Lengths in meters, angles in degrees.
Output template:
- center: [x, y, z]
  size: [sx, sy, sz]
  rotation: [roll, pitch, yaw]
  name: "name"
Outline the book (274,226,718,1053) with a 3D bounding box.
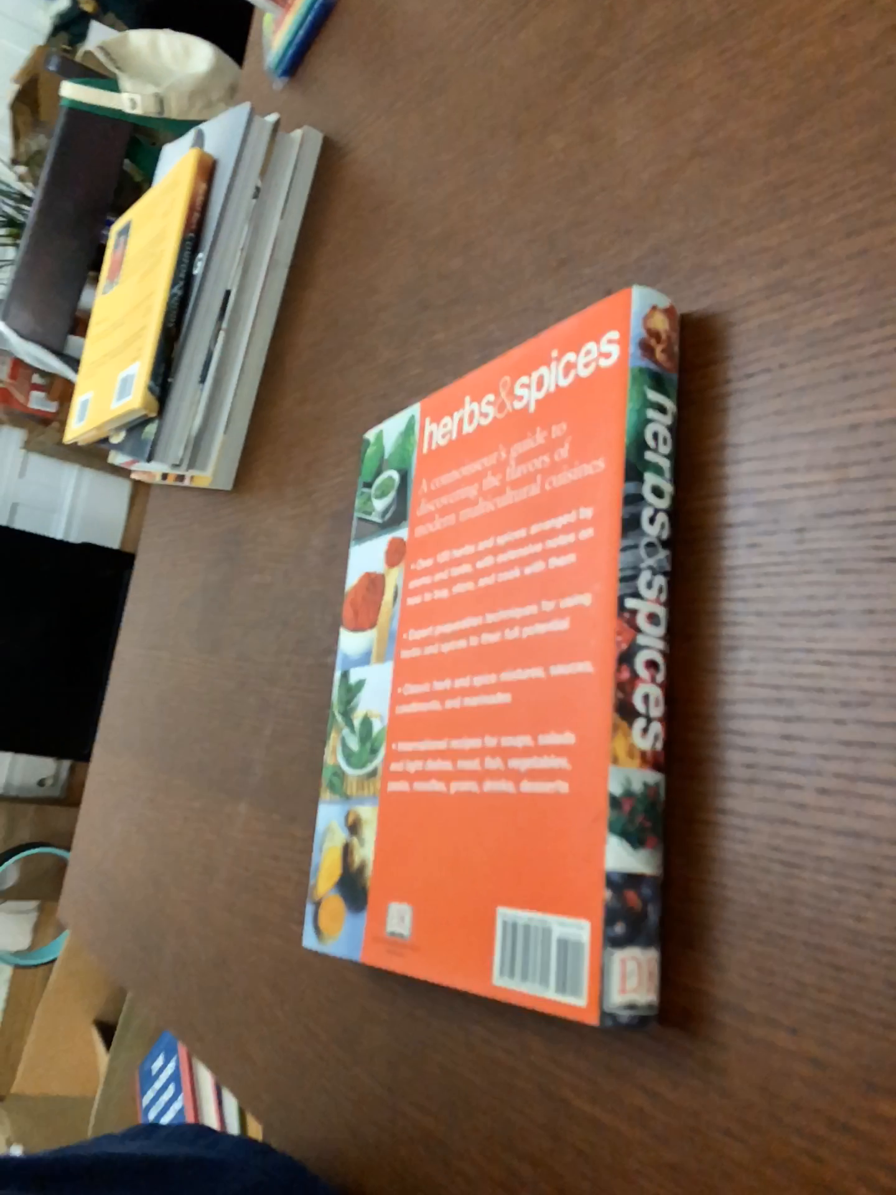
- center: [0.011, 0.018, 0.405]
  size: [0.211, 0.040, 0.270]
  rotation: [-14, 66, 53]
  name: "book"
